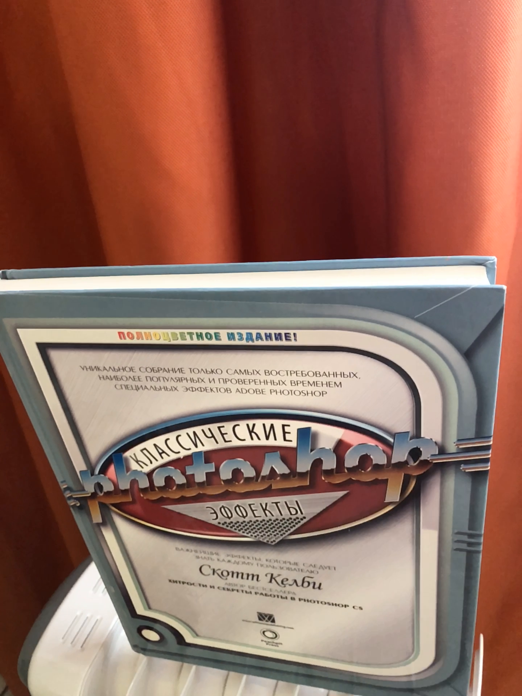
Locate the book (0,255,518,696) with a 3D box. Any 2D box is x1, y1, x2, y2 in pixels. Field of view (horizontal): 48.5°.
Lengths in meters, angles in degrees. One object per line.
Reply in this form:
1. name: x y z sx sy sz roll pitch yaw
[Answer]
1. book: 0.000 0.088 0.311 0.225 0.275 0.040 1 33 16
